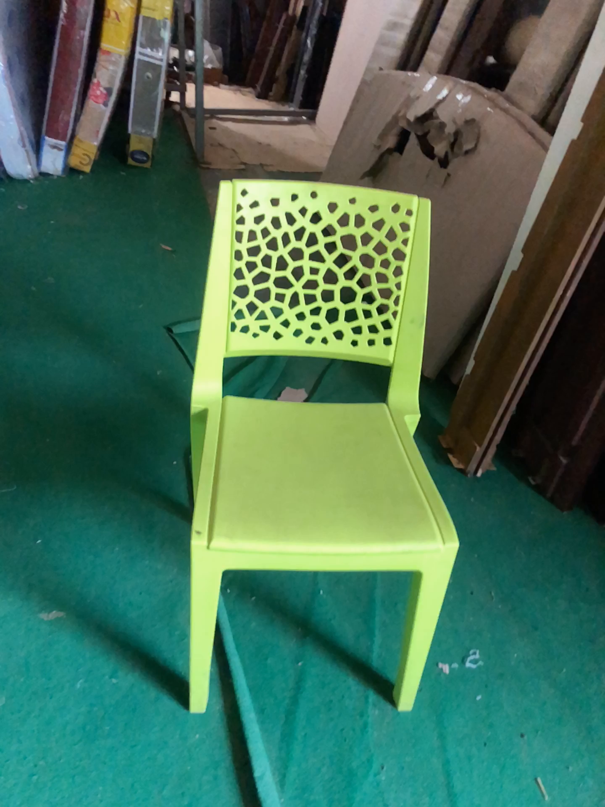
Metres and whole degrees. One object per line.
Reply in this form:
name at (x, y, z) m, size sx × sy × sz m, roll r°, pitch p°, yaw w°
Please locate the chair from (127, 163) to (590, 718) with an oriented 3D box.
chair at (0.026, 0.055, 1.228) m, size 0.530 × 0.776 × 0.643 m, roll 2°, pitch 34°, yaw -5°
